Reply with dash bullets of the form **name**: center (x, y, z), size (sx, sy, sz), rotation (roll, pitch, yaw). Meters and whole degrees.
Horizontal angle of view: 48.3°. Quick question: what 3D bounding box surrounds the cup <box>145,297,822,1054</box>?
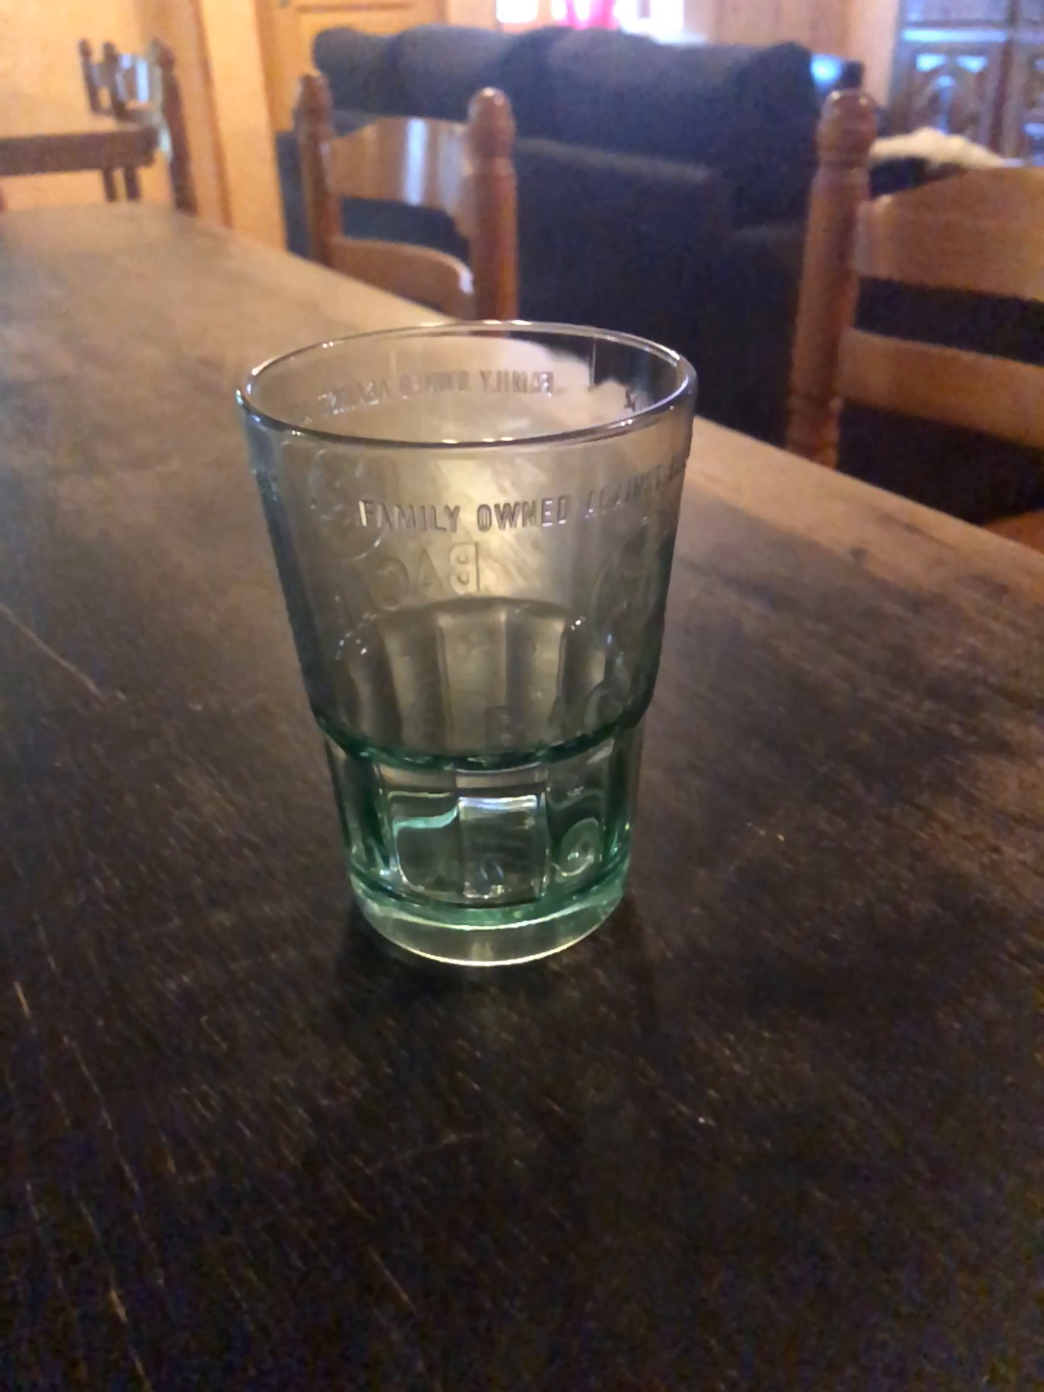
- **cup**: center (-0.008, -0.013, 0.230), size (0.083, 0.103, 0.089), rotation (-1, 30, 1)
